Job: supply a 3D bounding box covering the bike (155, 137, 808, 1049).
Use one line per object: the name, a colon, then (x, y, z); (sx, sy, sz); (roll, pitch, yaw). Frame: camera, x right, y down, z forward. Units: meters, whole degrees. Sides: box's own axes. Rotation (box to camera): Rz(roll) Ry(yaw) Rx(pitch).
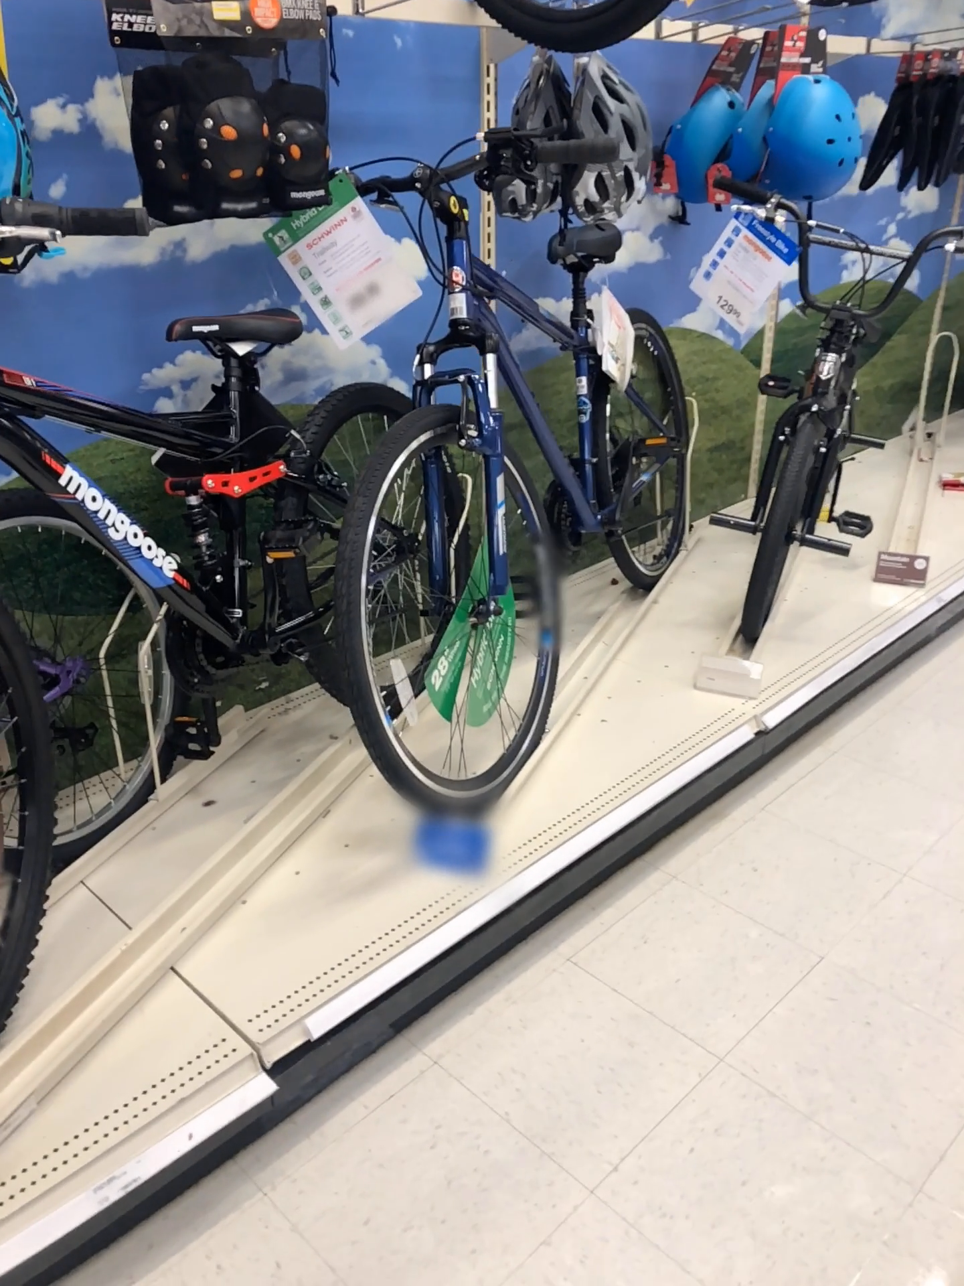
bike: (0.192, -0.346, 2.102); (0.530, 1.098, 1.746); (10, 30, 22)
